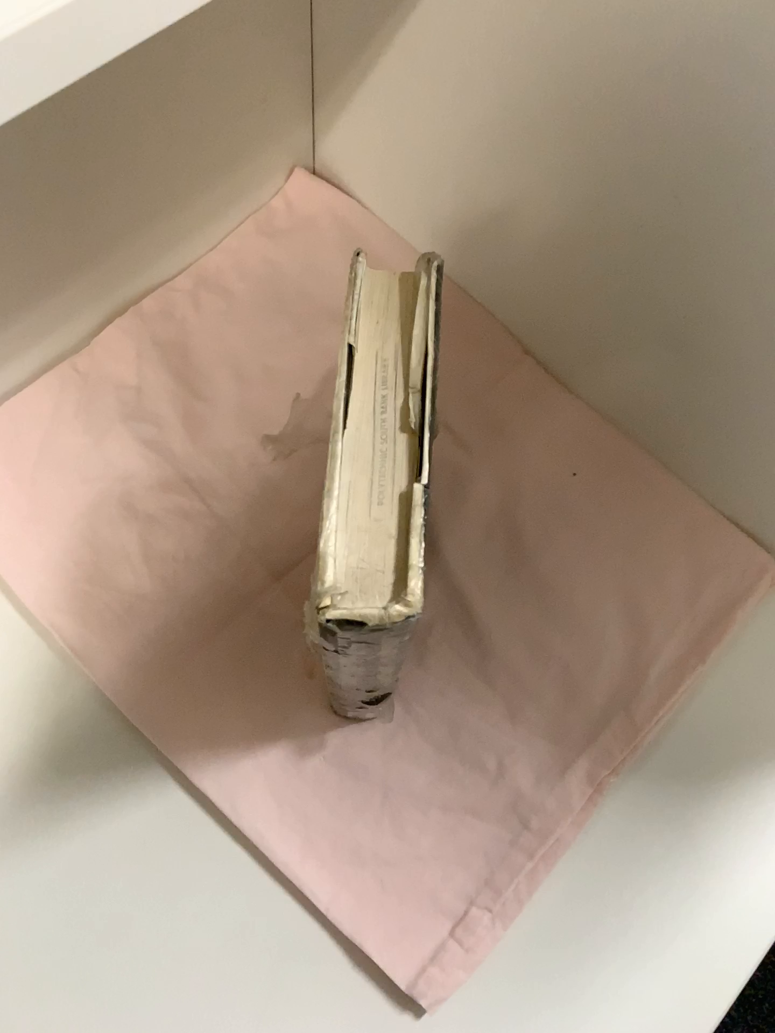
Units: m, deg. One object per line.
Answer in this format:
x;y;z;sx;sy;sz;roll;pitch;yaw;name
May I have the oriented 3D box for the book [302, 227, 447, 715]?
-0.005;0.002;0.422;0.042;0.248;0.167;5;68;0;book
